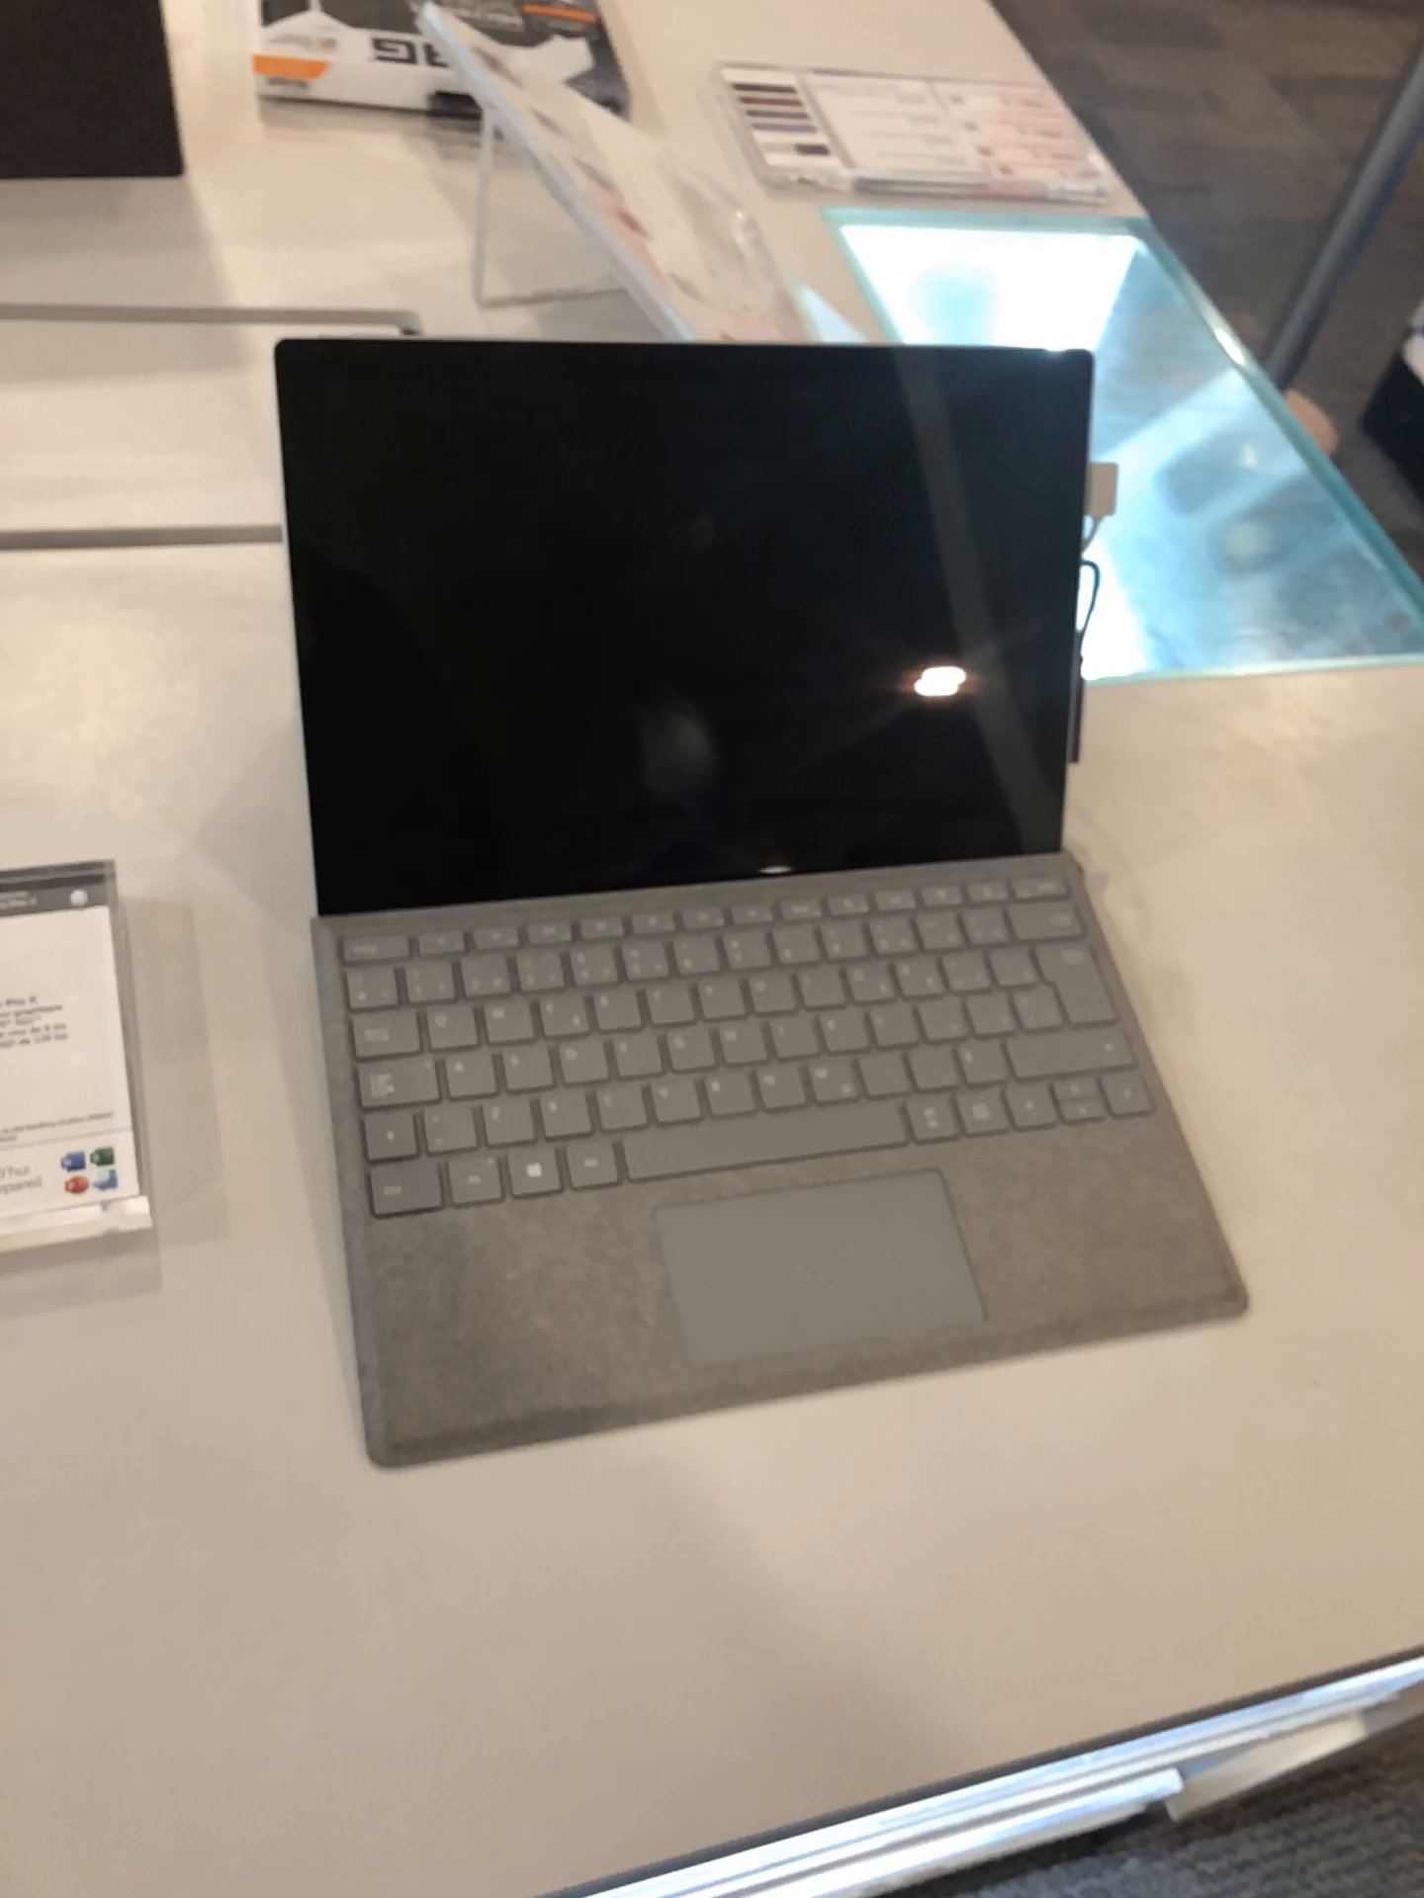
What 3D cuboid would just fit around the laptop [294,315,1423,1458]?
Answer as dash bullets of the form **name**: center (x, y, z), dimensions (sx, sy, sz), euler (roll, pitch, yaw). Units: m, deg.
- **laptop**: center (0.022, -0.039, 0.507), dimensions (0.279, 0.147, 0.298), euler (-5, 58, -16)
